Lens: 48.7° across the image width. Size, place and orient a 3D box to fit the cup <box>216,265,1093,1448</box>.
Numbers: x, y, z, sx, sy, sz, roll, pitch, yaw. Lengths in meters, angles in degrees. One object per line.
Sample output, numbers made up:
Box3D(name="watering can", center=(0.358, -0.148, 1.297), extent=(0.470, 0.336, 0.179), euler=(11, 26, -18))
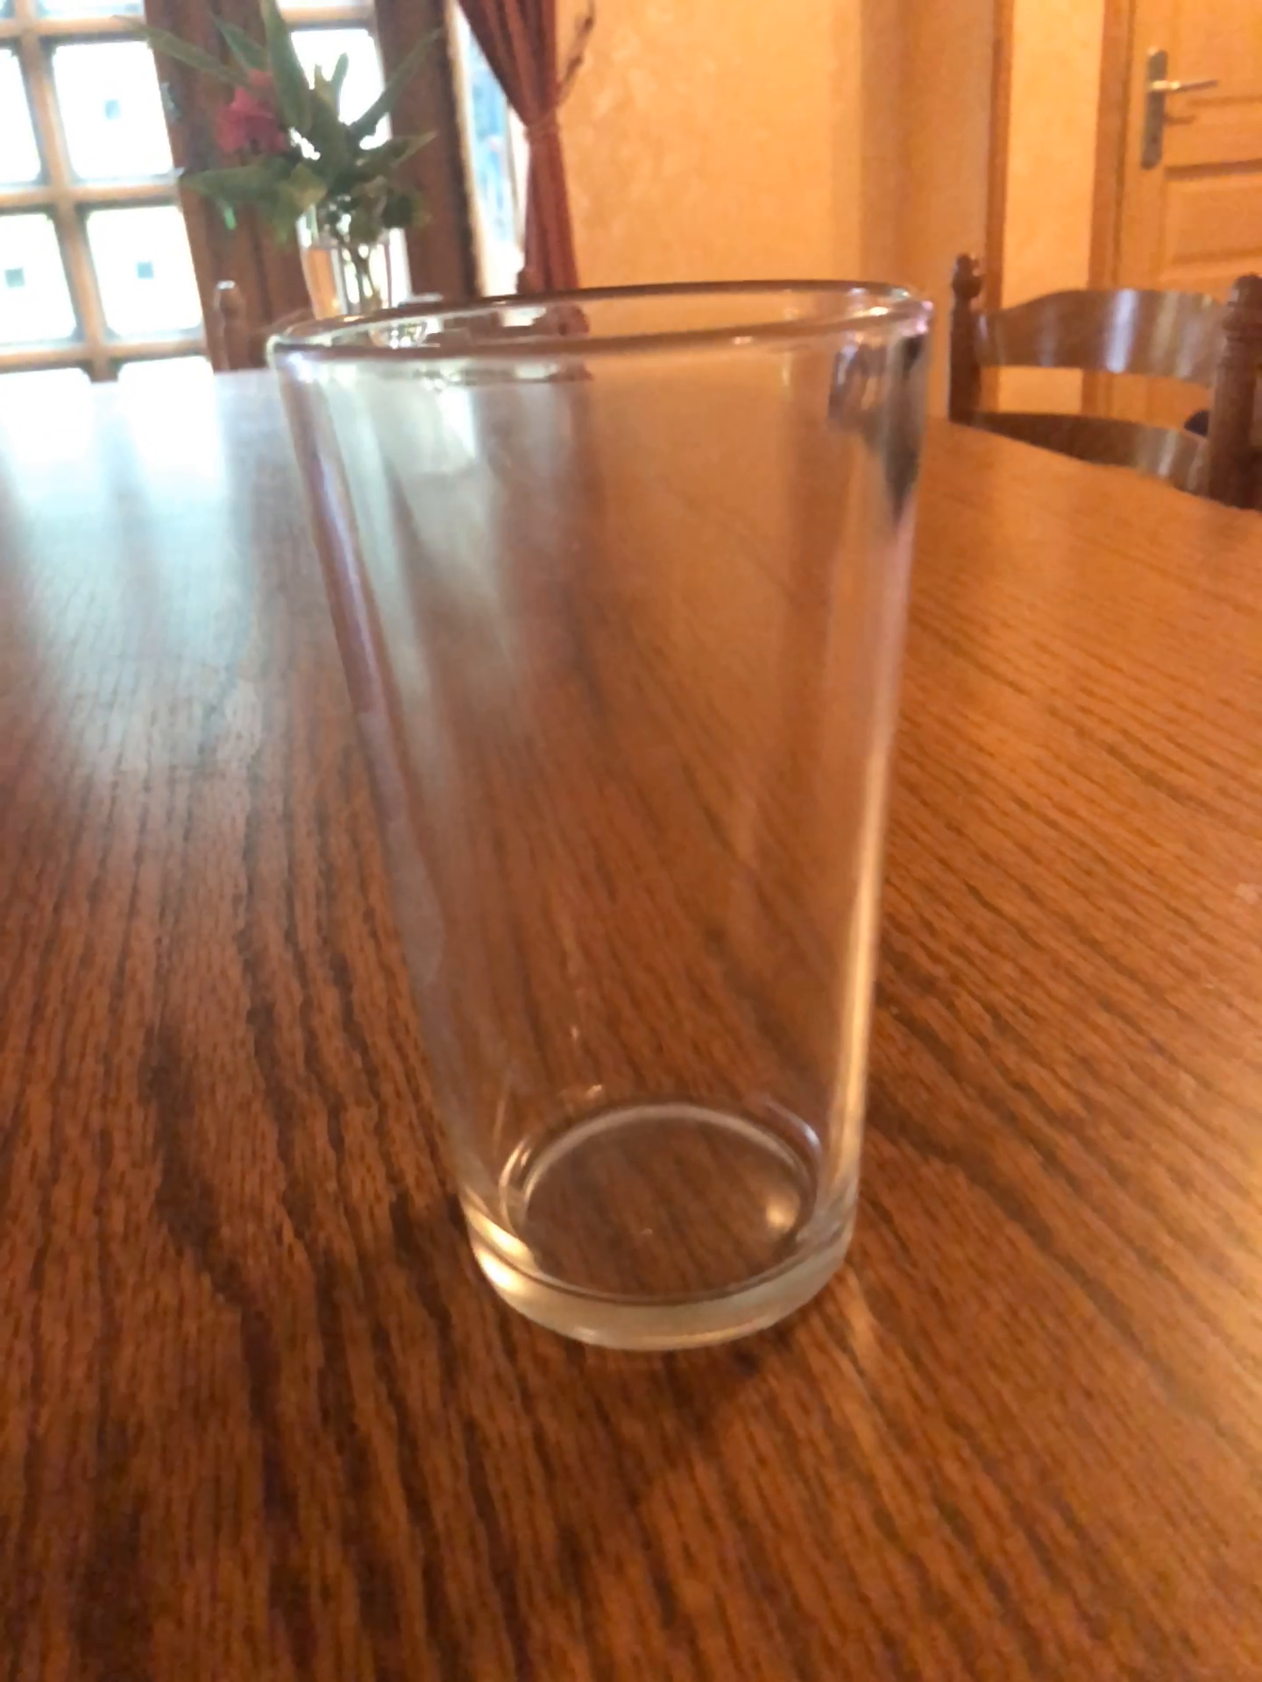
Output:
Box3D(name="cup", center=(0.001, -0.008, 0.217), extent=(0.089, 0.144, 0.092), euler=(-4, 24, 2))
